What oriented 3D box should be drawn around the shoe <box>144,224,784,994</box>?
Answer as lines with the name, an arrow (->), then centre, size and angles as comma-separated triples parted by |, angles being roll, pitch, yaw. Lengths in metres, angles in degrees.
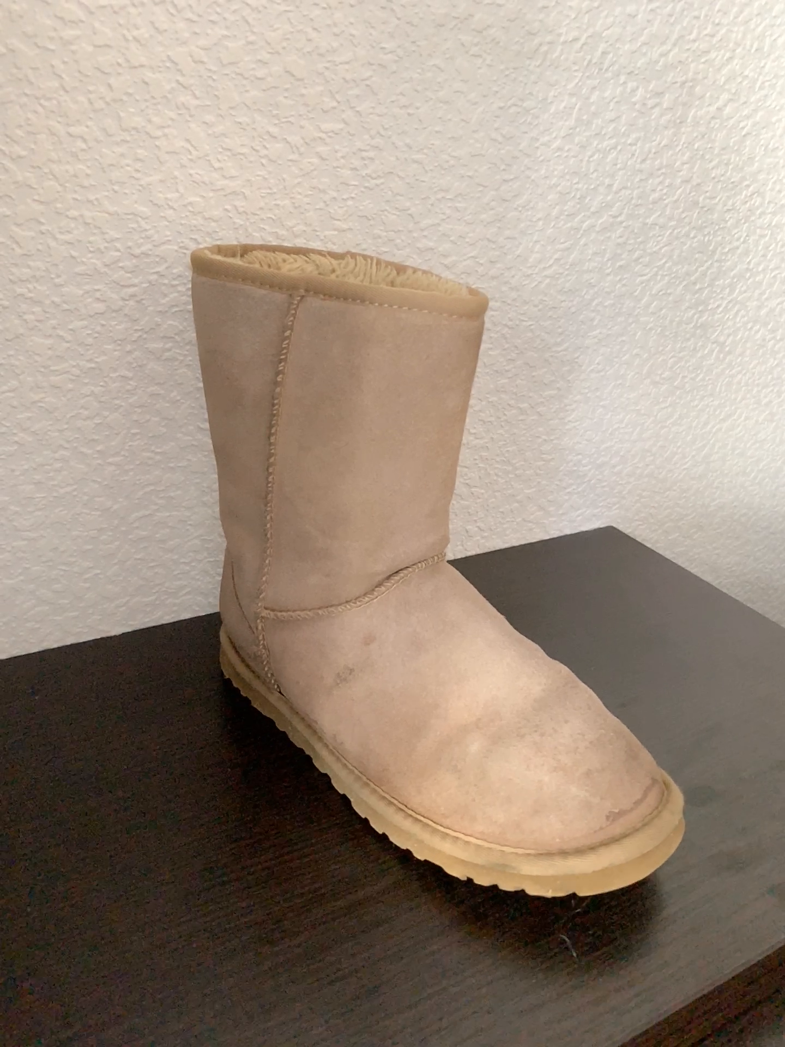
shoe -> 0.020, 0.004, 0.357 | 0.261, 0.229, 0.116 | 24, 31, 37
